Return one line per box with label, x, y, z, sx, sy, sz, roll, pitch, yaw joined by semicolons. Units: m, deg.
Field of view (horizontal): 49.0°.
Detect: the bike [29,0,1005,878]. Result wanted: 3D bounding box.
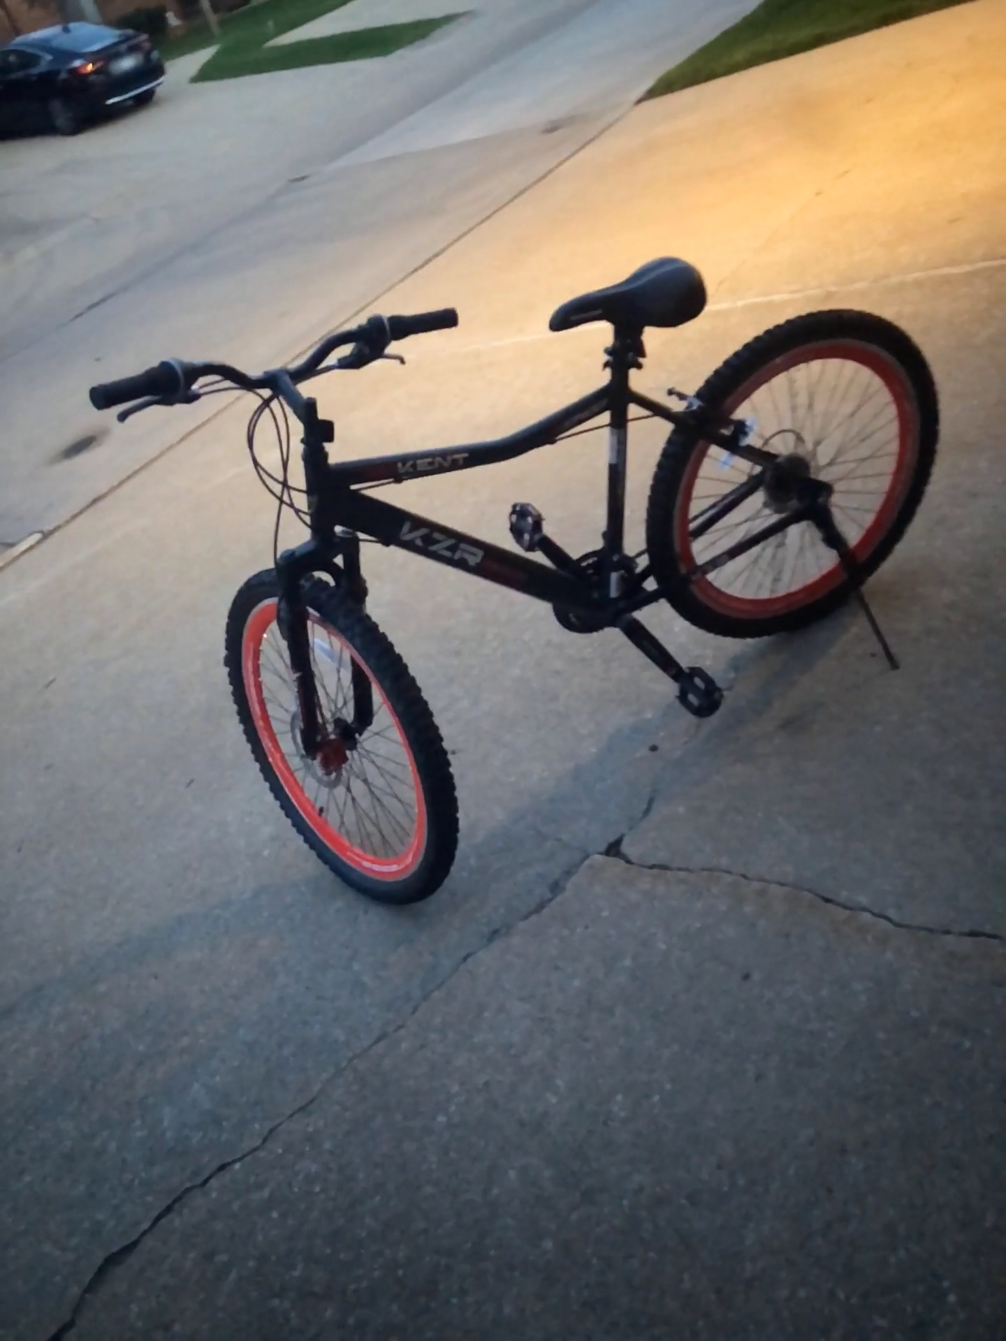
bike;0.103;-0.386;2.007;1.424;1.031;0.600;-22;33;-1
